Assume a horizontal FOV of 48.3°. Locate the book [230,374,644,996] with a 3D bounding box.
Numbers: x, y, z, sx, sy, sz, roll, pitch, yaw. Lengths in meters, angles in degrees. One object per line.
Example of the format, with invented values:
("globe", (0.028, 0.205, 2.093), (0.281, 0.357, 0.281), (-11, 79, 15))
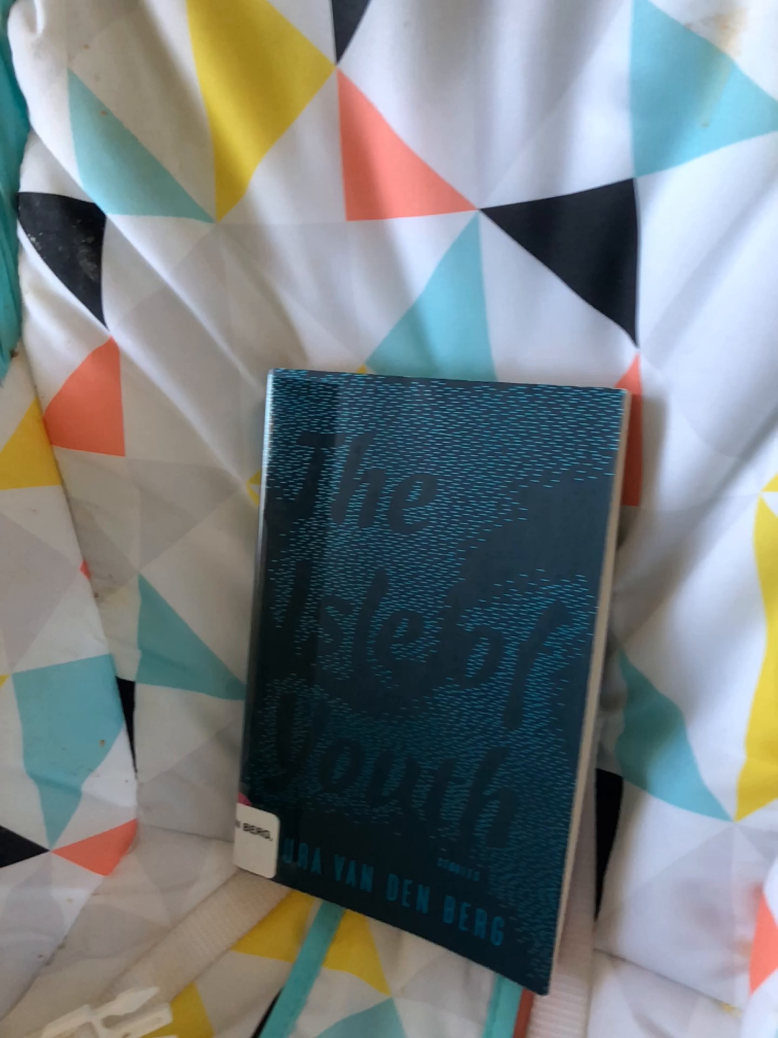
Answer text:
("book", (0.009, 0.046, 0.293), (0.124, 0.032, 0.180), (8, 99, 28))
